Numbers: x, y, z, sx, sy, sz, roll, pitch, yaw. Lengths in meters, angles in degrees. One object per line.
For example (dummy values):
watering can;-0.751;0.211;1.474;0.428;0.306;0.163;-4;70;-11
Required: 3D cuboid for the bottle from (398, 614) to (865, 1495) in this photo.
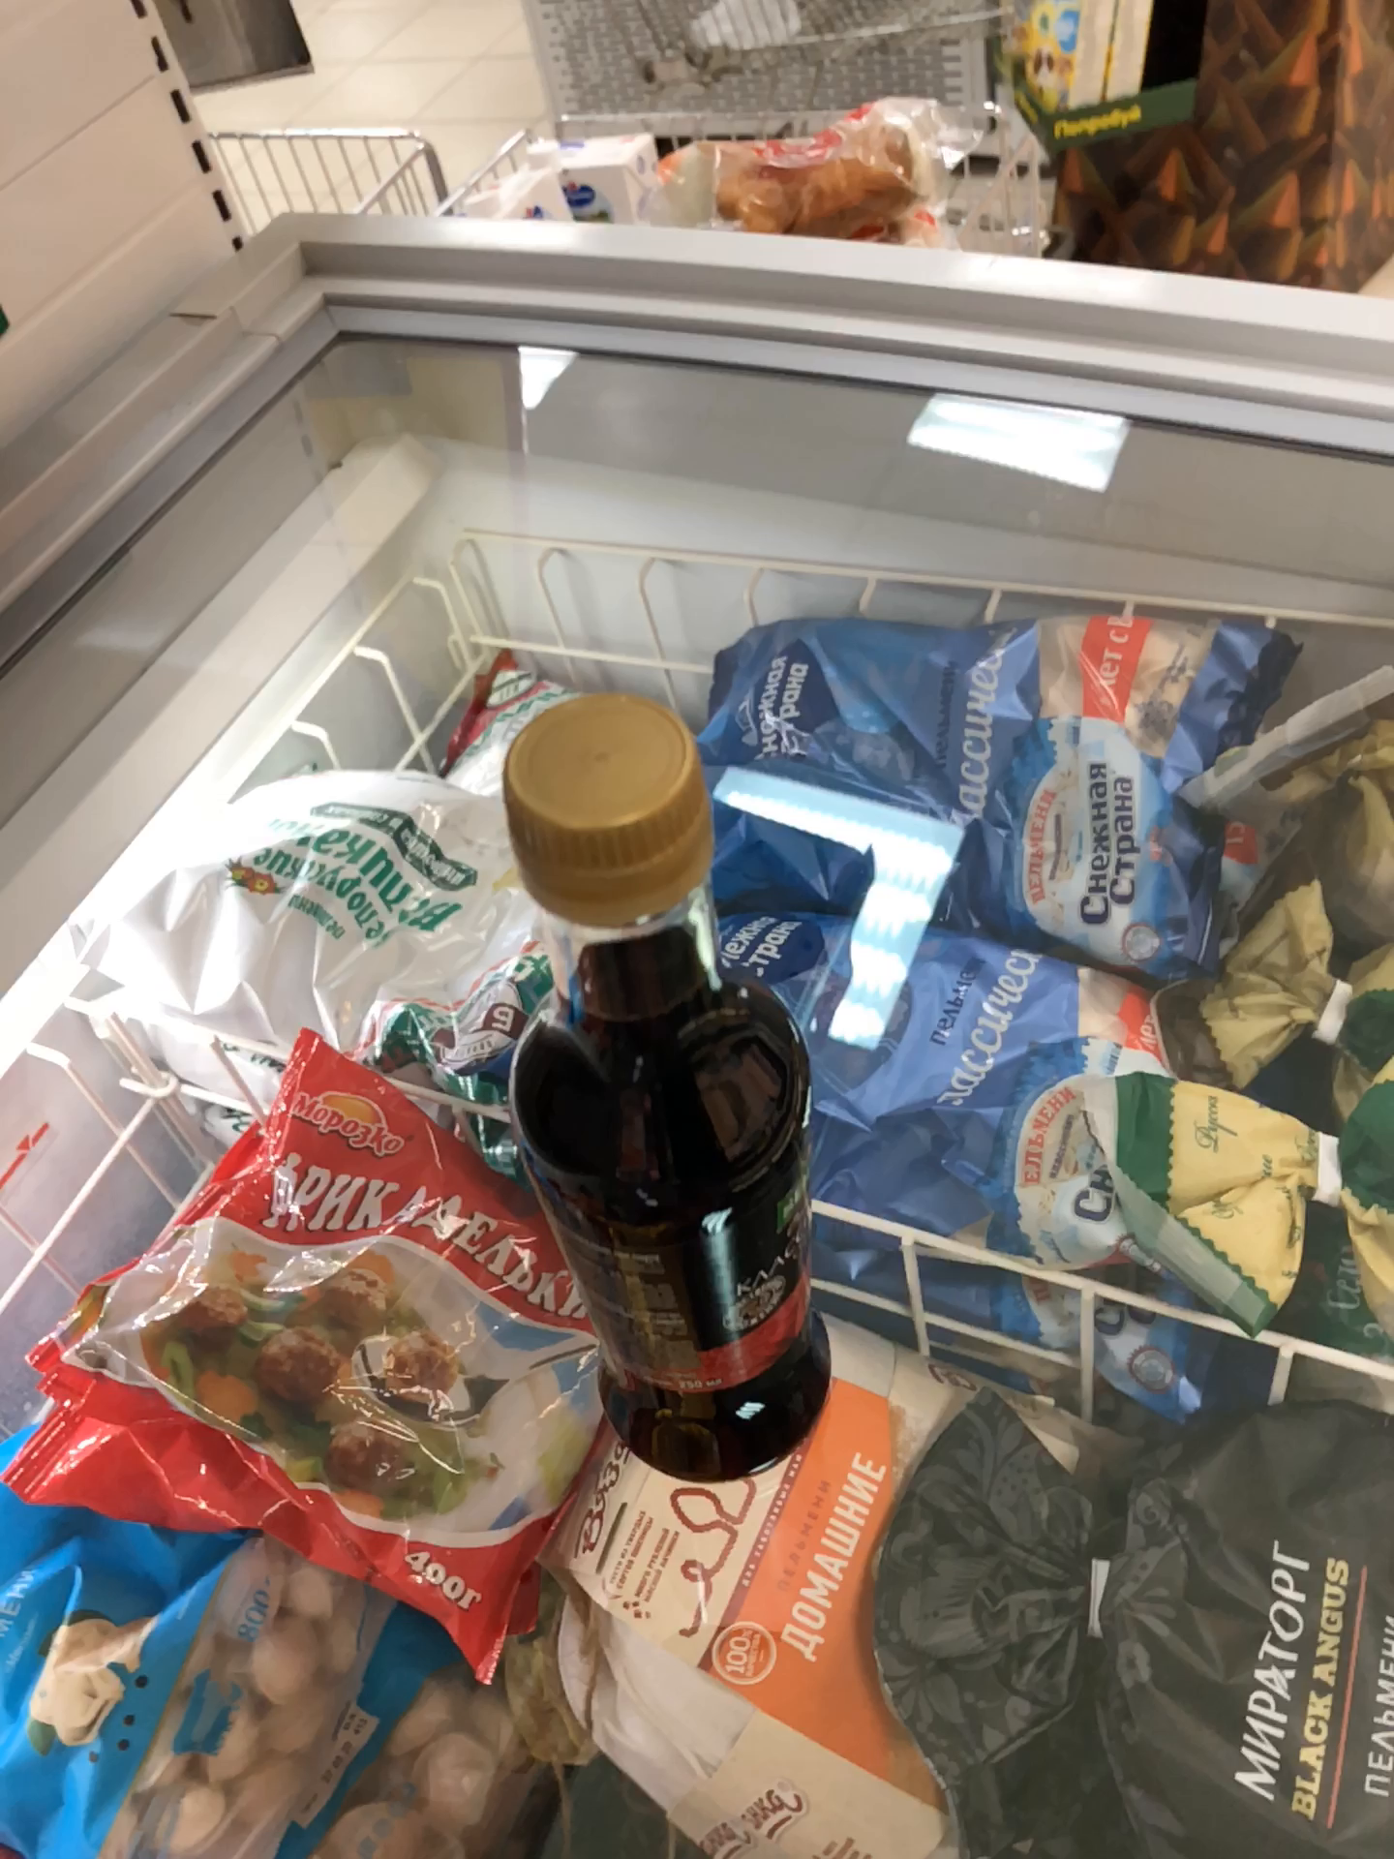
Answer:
bottle;0.001;0.038;0.287;0.060;0.192;0.058;-3;48;4
